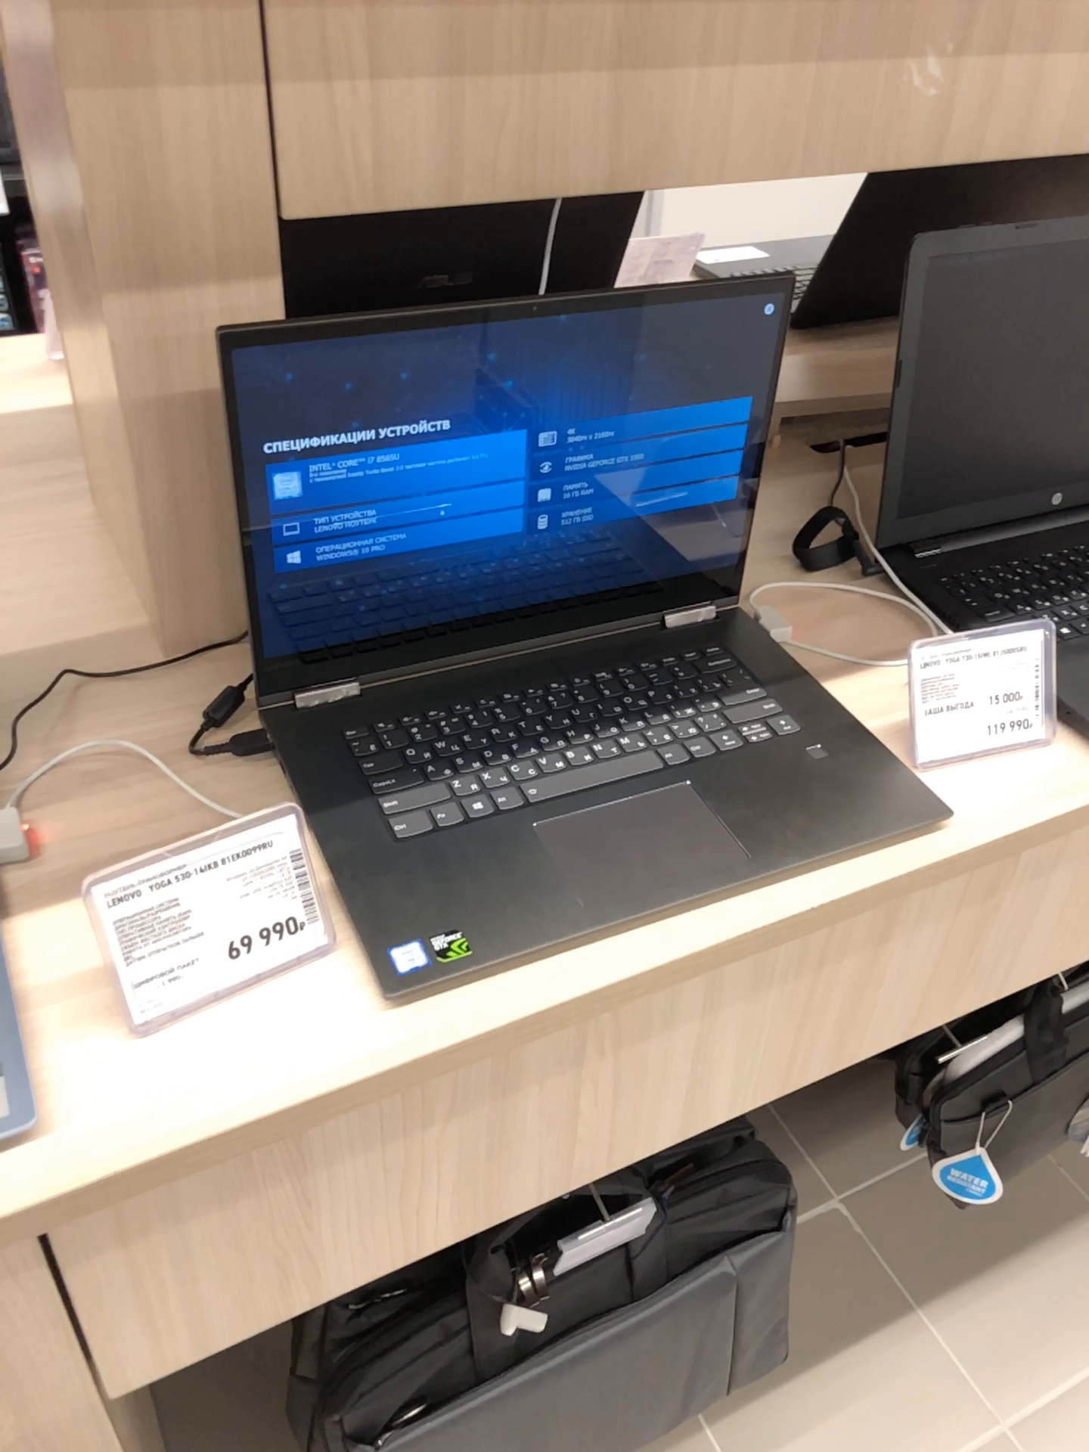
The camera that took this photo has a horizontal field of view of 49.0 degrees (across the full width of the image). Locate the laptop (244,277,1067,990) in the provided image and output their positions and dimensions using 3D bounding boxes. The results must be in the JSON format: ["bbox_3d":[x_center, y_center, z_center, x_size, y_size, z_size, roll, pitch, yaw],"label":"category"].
[{"bbox_3d":[0.043,-0.078,0.690,0.359,0.240,0.253,-13,41,-21],"label":"laptop"}]

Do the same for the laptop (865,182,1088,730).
[{"bbox_3d":[0.464,-0.221,0.880,0.306,0.238,0.309,-12,38,-15],"label":"laptop"}]
